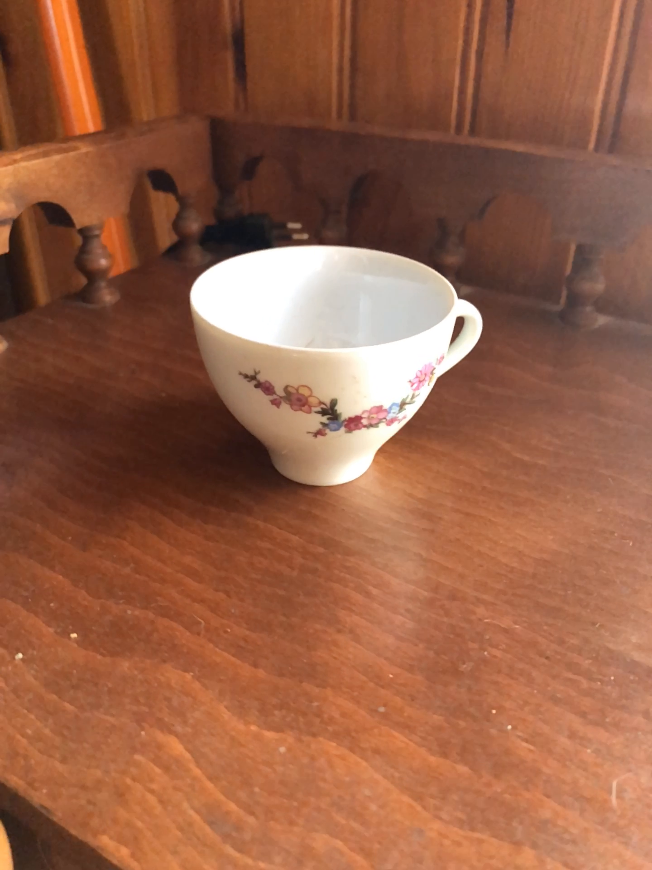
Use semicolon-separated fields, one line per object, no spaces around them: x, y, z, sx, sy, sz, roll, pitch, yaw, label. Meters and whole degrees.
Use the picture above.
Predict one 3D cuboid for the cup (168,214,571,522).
0.008;-0.028;0.223;0.090;0.050;0.080;-12;34;-20;cup
